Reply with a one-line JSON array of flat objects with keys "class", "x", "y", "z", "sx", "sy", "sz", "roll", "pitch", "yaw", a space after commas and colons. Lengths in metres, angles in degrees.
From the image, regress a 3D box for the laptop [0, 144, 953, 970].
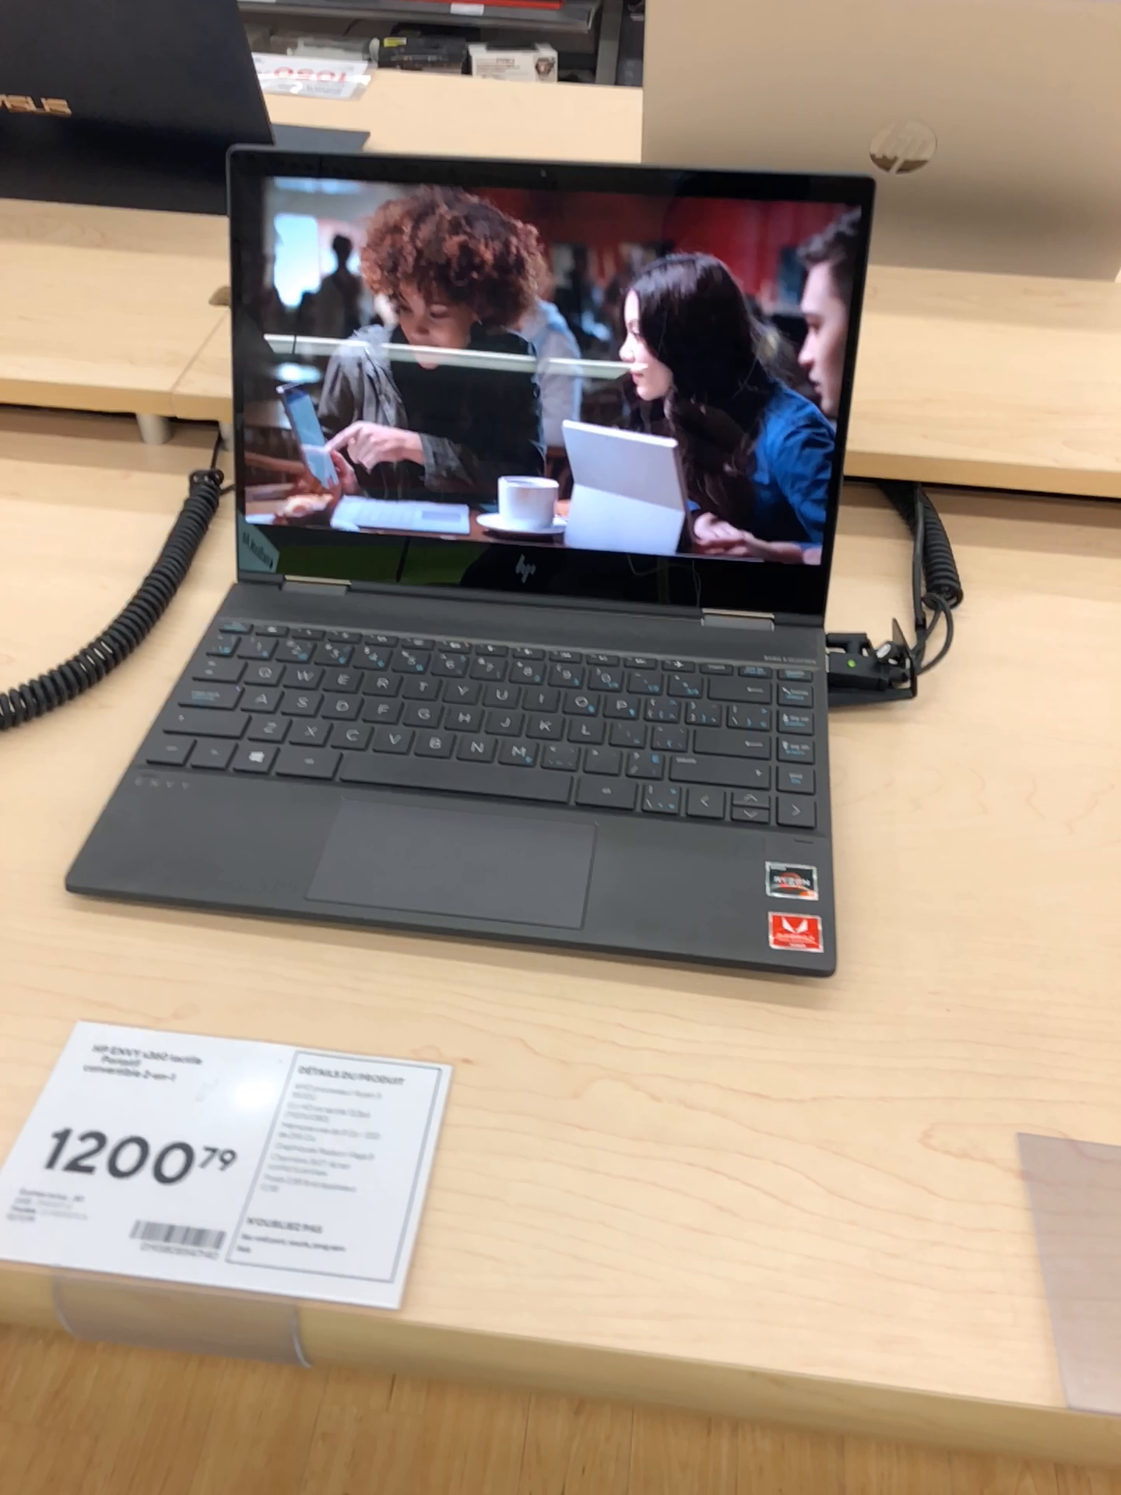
[{"class": "laptop", "x": -0.025, "y": -0.097, "z": 0.517, "sx": 0.294, "sy": 0.182, "sz": 0.289, "roll": 5, "pitch": 44, "yaw": 4}]
